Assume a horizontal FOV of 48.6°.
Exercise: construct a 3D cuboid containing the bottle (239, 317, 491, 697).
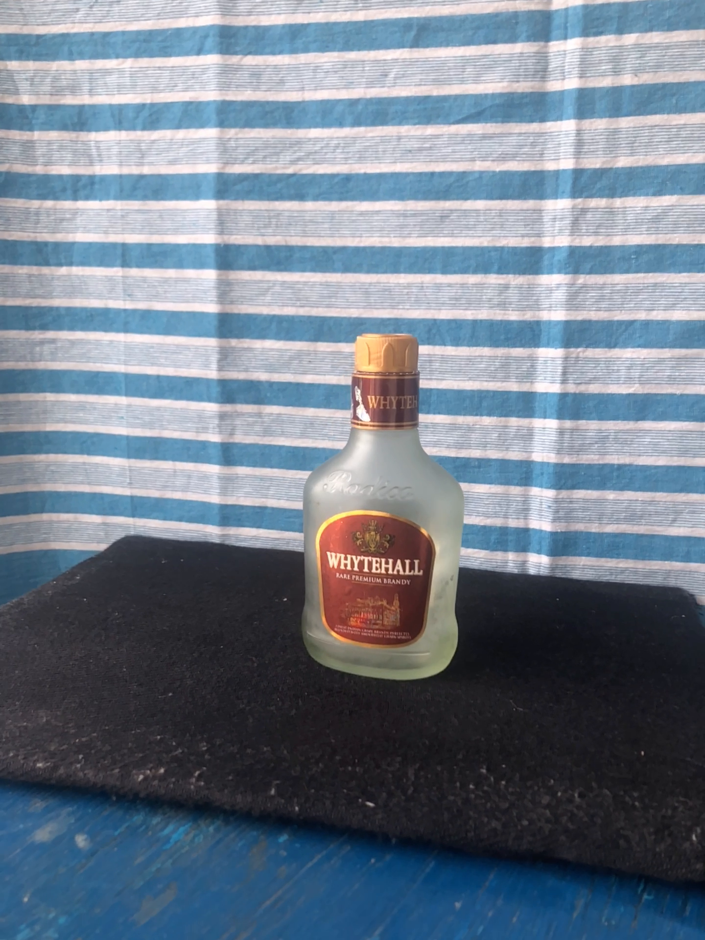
[{"bbox_3d":[0.006,0.008,0.307,0.080,0.130,0.060,6,13,15],"label":"bottle"}]
